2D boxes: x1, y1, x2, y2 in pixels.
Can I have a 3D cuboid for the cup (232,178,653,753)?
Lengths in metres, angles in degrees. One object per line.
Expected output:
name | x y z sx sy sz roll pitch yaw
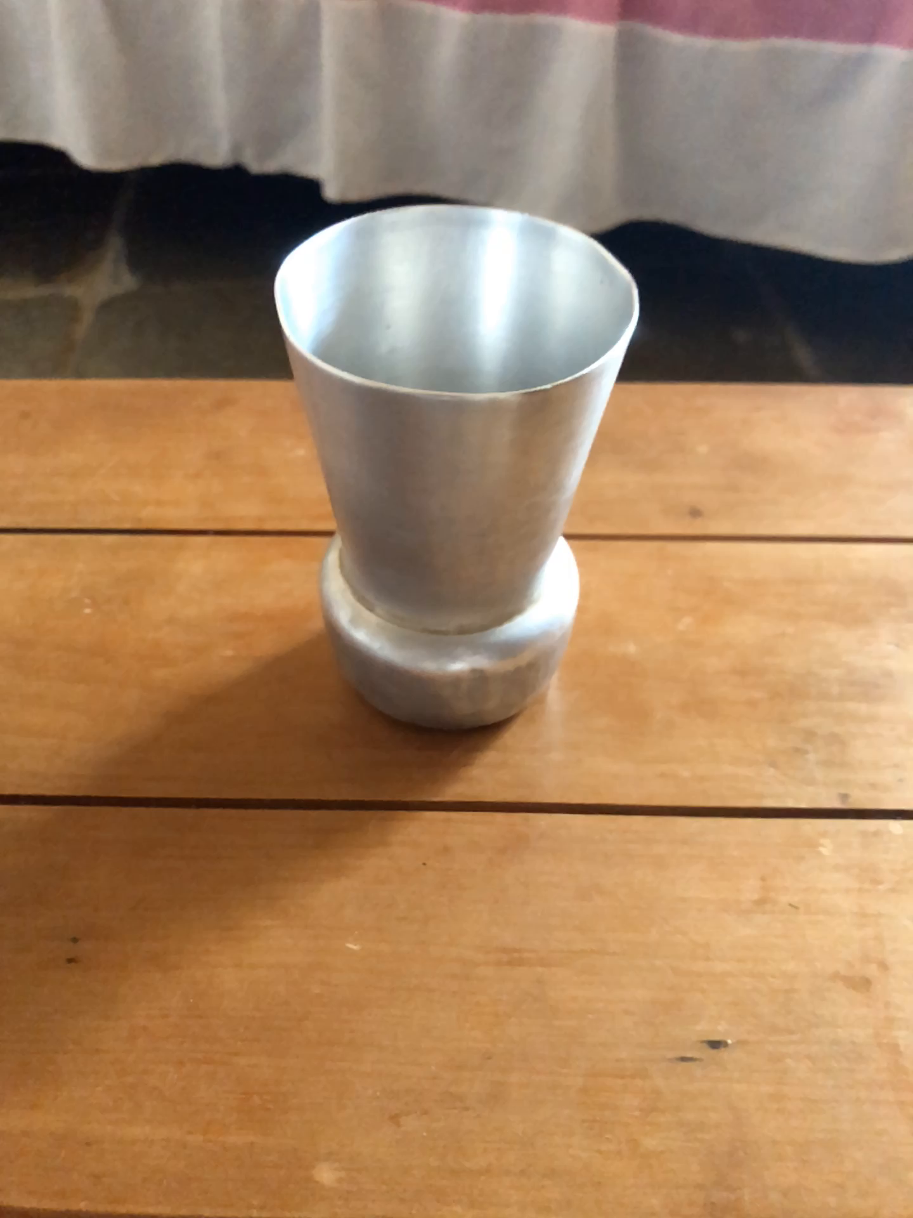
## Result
cup | -0.002 -0.029 0.234 0.070 0.109 0.071 0 44 0
